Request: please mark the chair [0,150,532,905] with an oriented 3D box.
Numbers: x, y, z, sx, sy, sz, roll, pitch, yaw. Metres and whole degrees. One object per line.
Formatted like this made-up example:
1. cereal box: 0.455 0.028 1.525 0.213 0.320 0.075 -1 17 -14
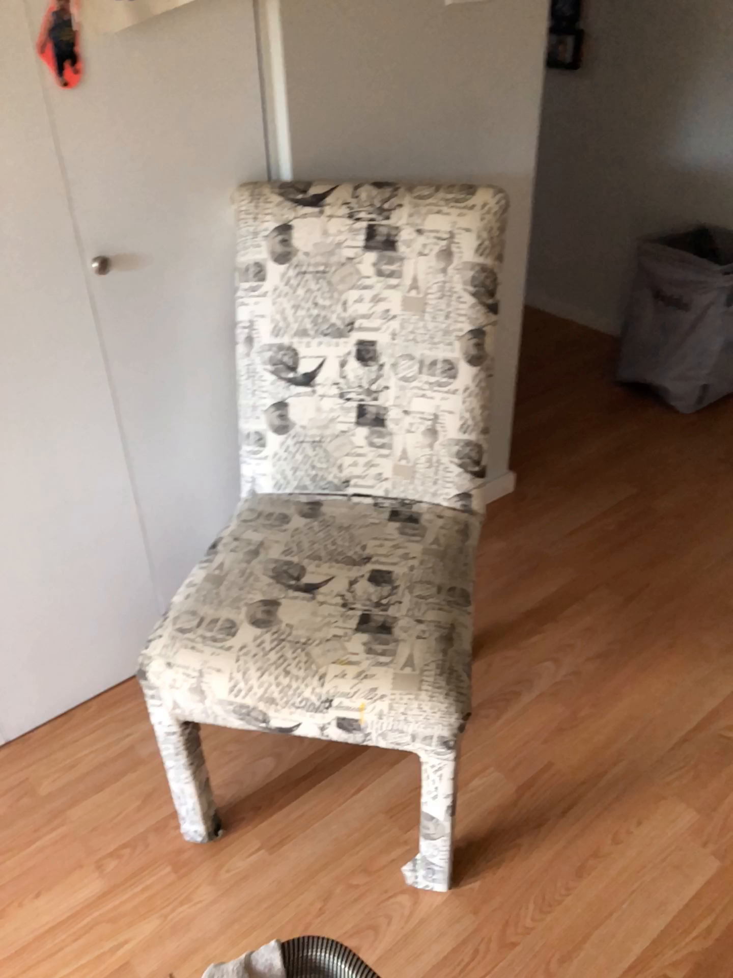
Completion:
1. chair: -0.048 0.045 1.339 0.520 0.997 0.672 6 35 10
